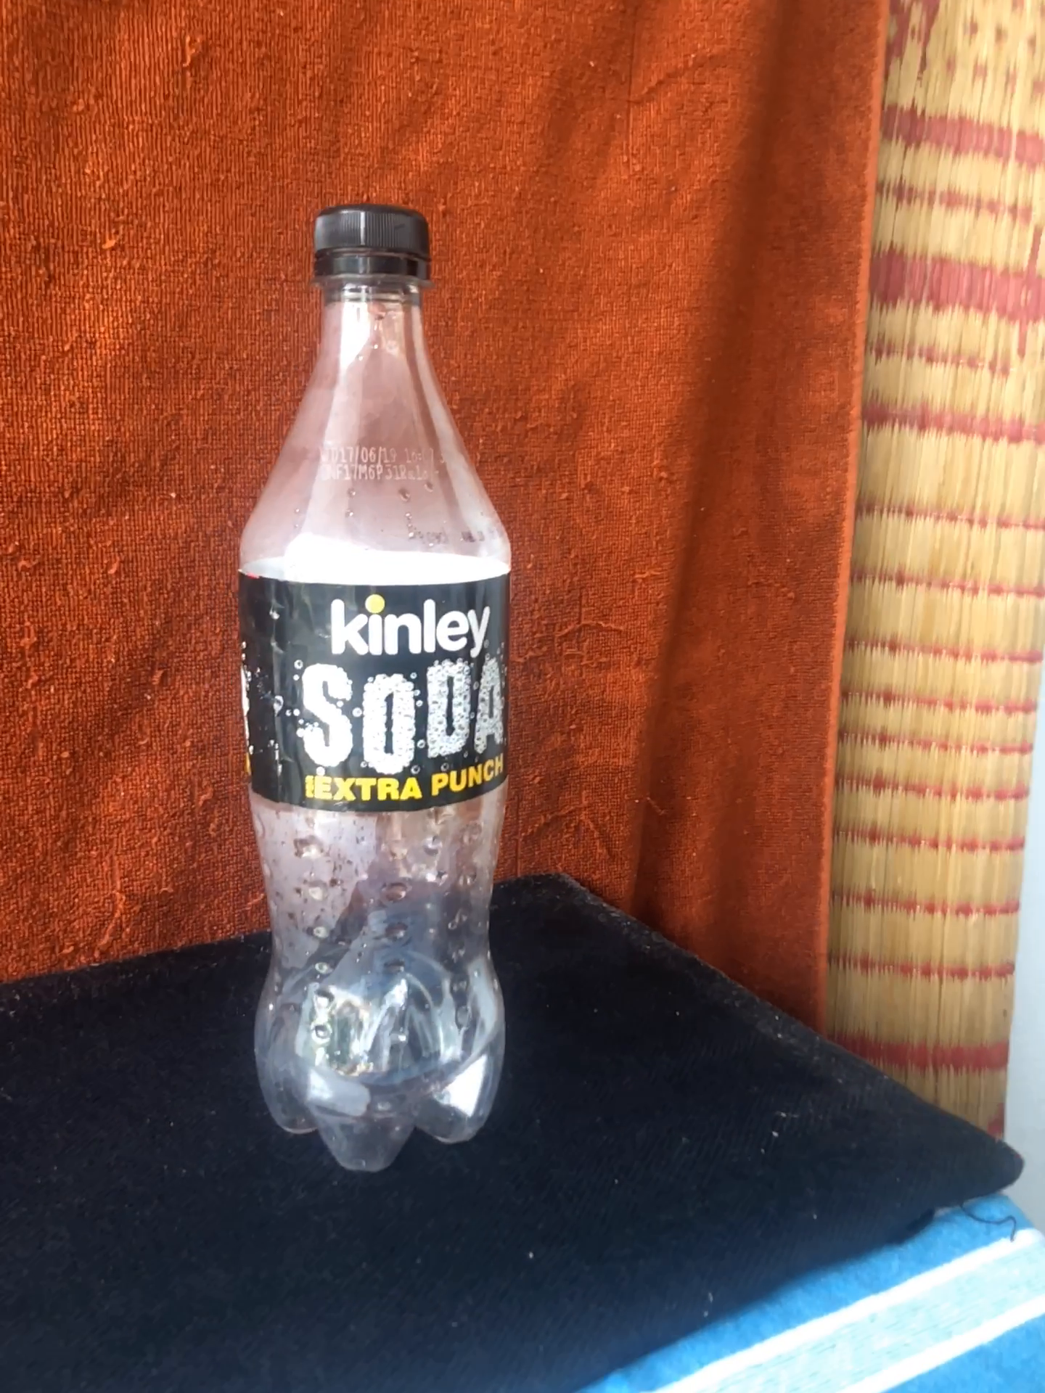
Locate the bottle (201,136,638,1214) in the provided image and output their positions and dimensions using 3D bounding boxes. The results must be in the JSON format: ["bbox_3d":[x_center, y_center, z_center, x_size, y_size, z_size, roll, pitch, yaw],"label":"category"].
[{"bbox_3d":[-0.036,-0.002,0.321,0.090,0.259,0.070,-3,15,-27],"label":"bottle"}]
